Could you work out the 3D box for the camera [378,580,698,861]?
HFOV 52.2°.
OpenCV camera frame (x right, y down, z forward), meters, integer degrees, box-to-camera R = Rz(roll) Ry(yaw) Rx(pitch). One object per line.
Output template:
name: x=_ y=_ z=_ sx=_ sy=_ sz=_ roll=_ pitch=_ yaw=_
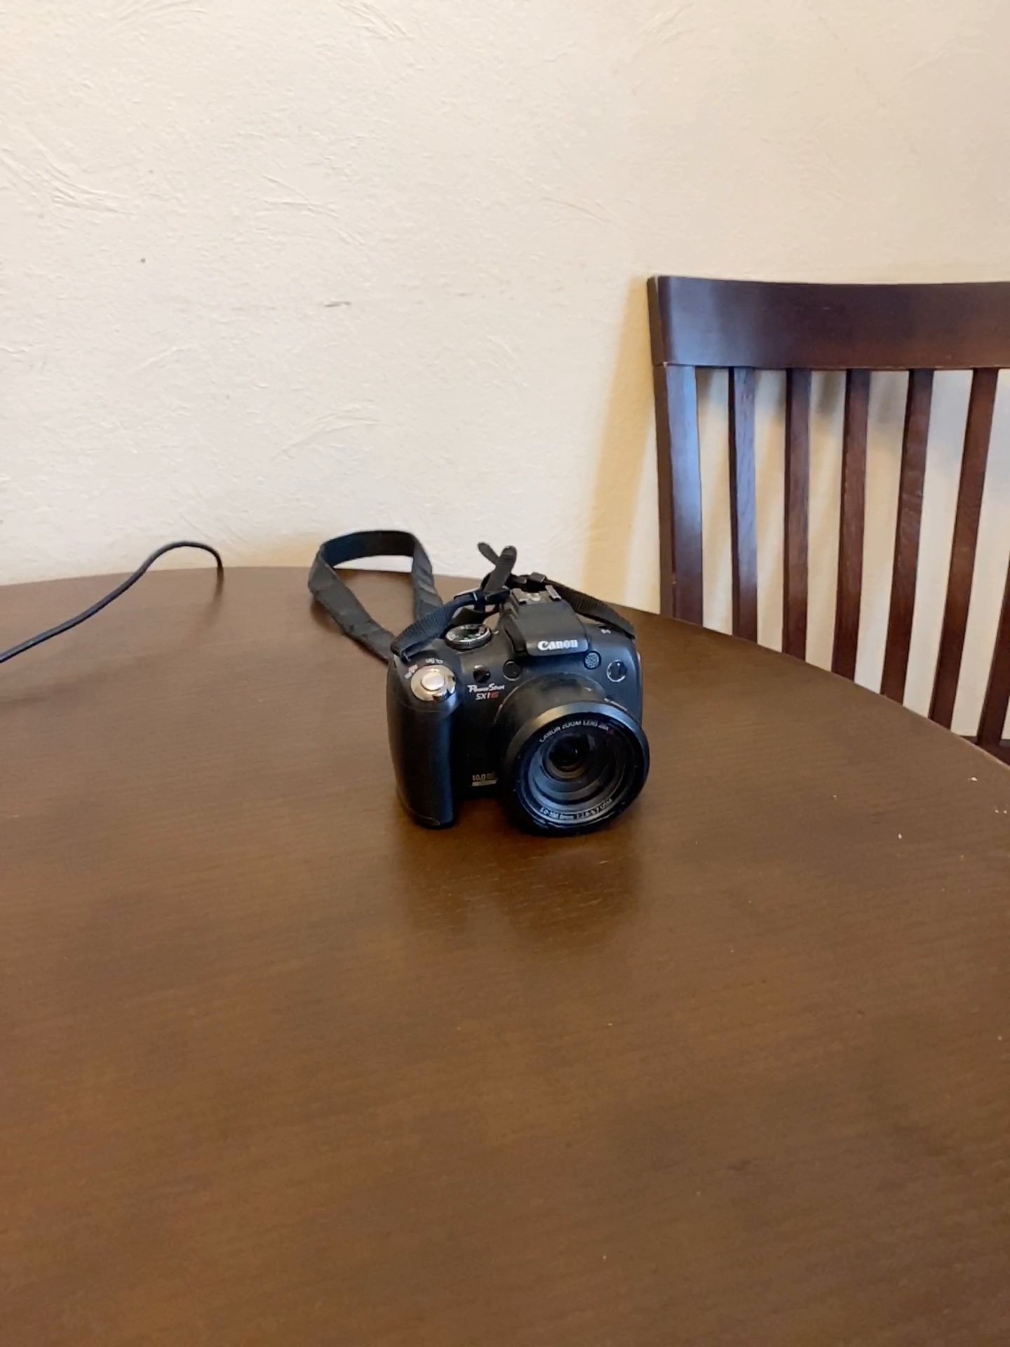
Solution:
camera: x=0.010 y=0.017 z=0.465 sx=0.123 sy=0.088 sz=0.082 roll=-4 pitch=25 yaw=-11
